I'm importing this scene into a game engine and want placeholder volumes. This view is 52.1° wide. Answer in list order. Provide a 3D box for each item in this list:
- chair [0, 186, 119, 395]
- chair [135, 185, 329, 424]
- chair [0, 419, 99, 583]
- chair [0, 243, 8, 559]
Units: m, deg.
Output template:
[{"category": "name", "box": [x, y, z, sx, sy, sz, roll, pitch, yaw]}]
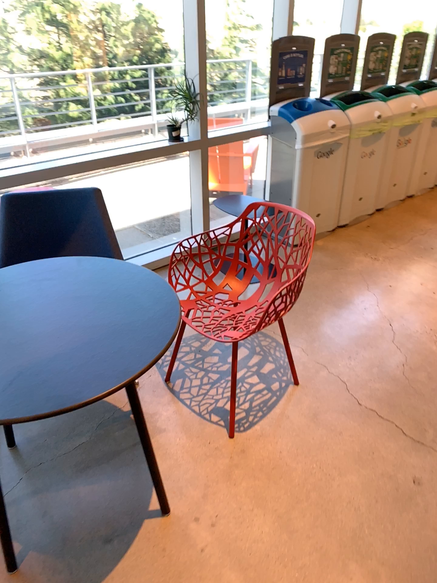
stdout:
[{"category": "chair", "box": [-0.796, -0.021, 2.090, 0.560, 0.765, 0.513, -6, 31, -9]}, {"category": "chair", "box": [0.054, 0.020, 2.010, 0.561, 0.765, 0.553, -25, 38, -35]}, {"category": "chair", "box": [-0.653, 0.767, 0.771, 0.561, 0.765, 0.532, 14, 33, 22]}, {"category": "chair", "box": [-1.122, 0.330, 1.476, 0.530, 0.765, 0.564, -7, 31, -10]}]
